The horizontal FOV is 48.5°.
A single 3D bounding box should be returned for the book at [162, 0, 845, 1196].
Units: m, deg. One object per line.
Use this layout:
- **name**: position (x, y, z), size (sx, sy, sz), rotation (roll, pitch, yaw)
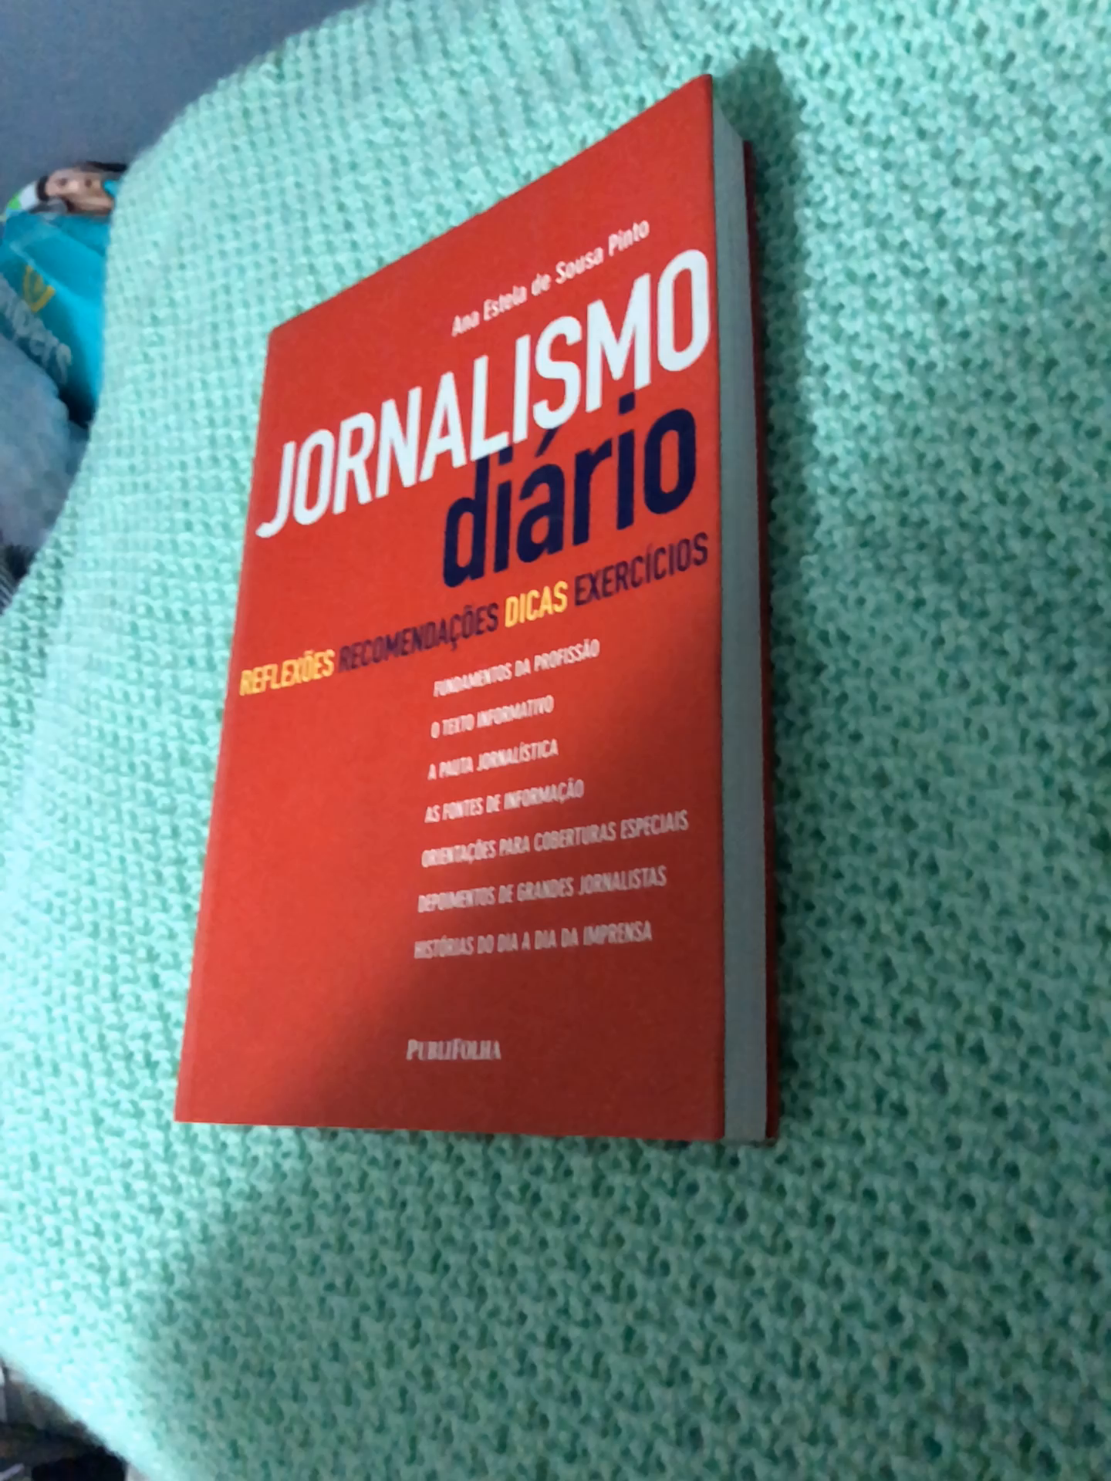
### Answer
- **book**: position (-0.018, -0.034, 0.283), size (0.161, 0.030, 0.250), rotation (-14, 67, 40)
